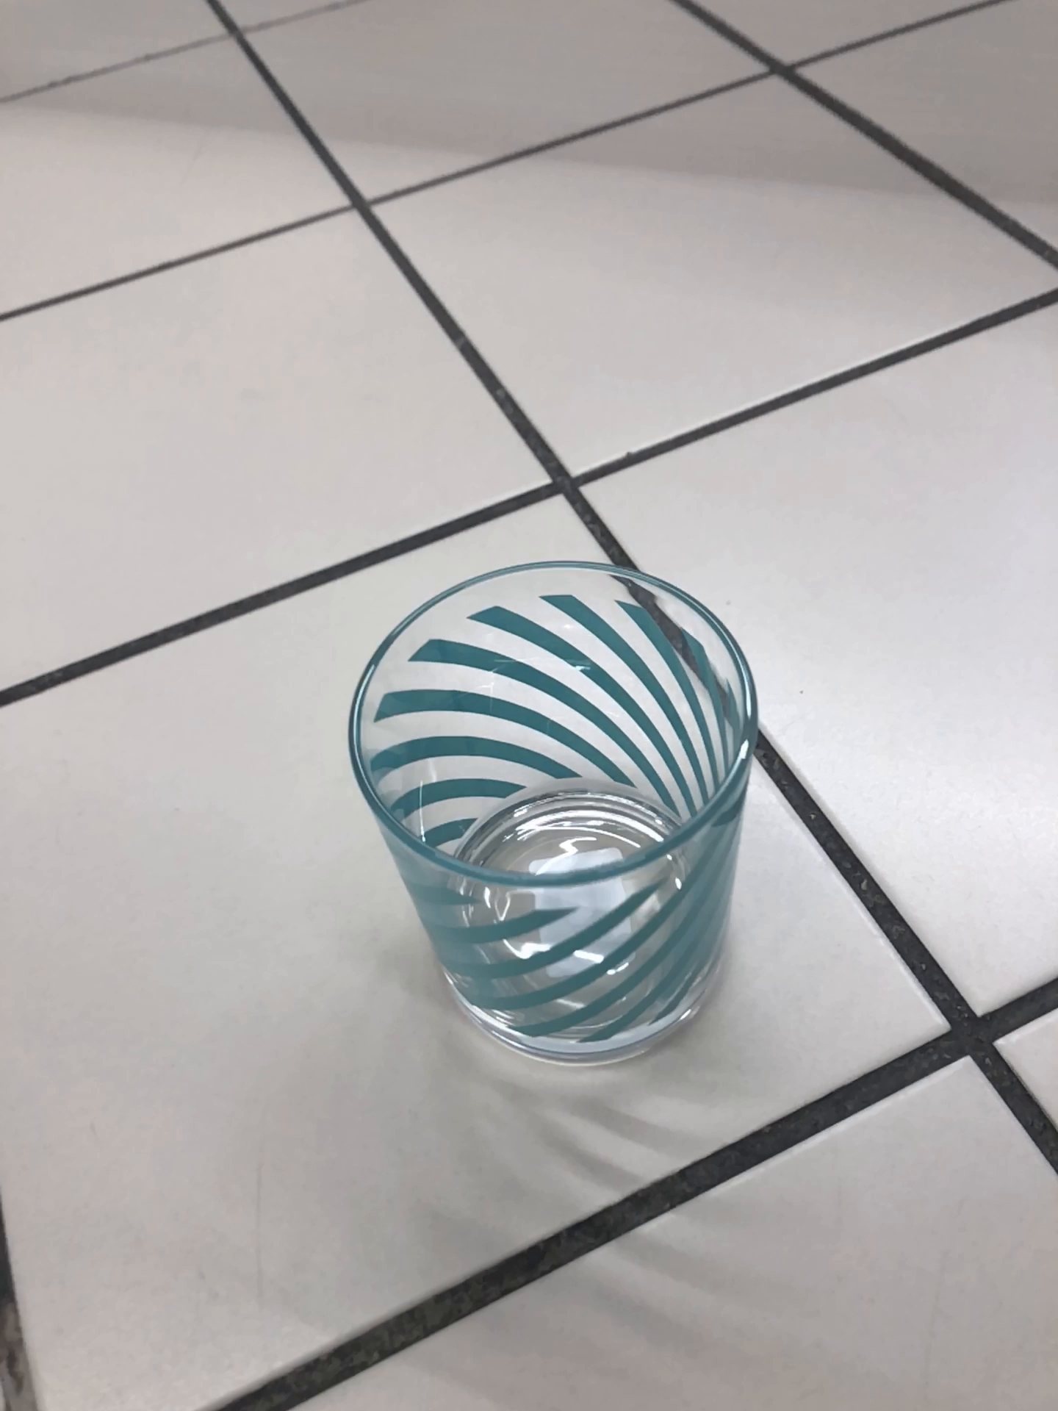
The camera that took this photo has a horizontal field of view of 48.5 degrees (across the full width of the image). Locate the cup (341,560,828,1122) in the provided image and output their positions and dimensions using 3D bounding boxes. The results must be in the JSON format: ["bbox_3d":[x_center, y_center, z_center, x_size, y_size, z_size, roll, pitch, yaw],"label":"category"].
[{"bbox_3d":[0.009,0.030,0.245,0.079,0.080,0.076,-3,52,4],"label":"cup"}]
